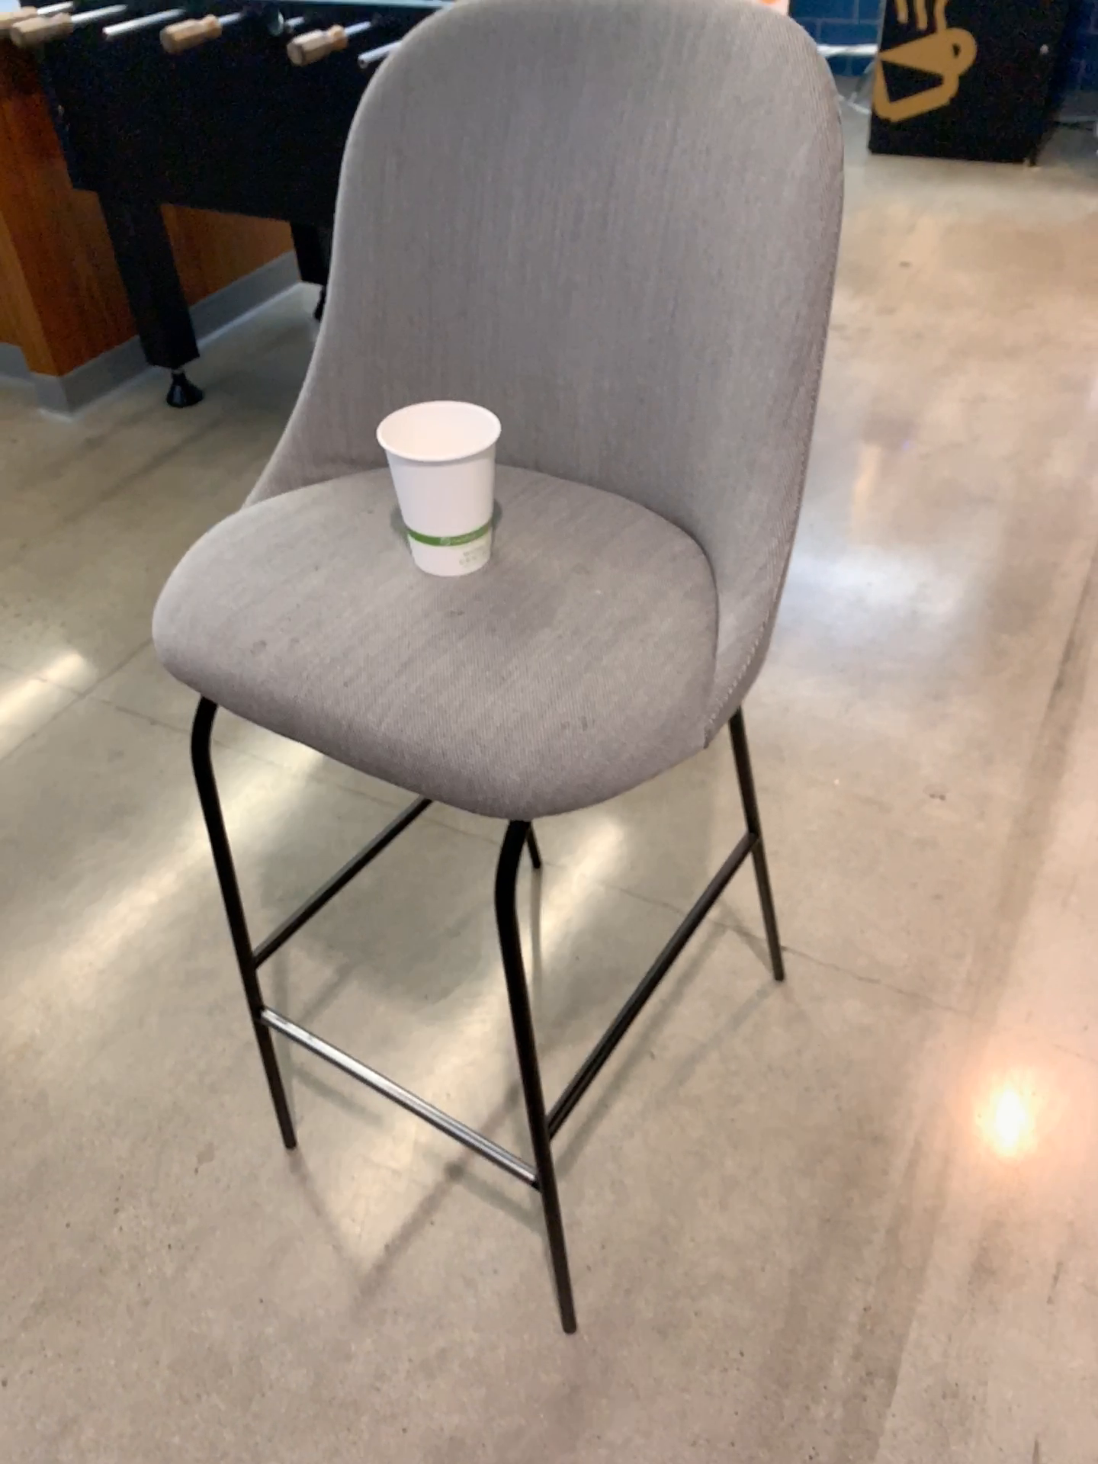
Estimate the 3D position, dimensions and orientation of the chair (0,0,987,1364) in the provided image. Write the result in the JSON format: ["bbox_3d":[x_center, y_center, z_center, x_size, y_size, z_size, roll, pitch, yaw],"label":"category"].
[{"bbox_3d":[-0.029,-0.018,1.044,0.471,1.054,0.572,22,47,26],"label":"chair"}]
